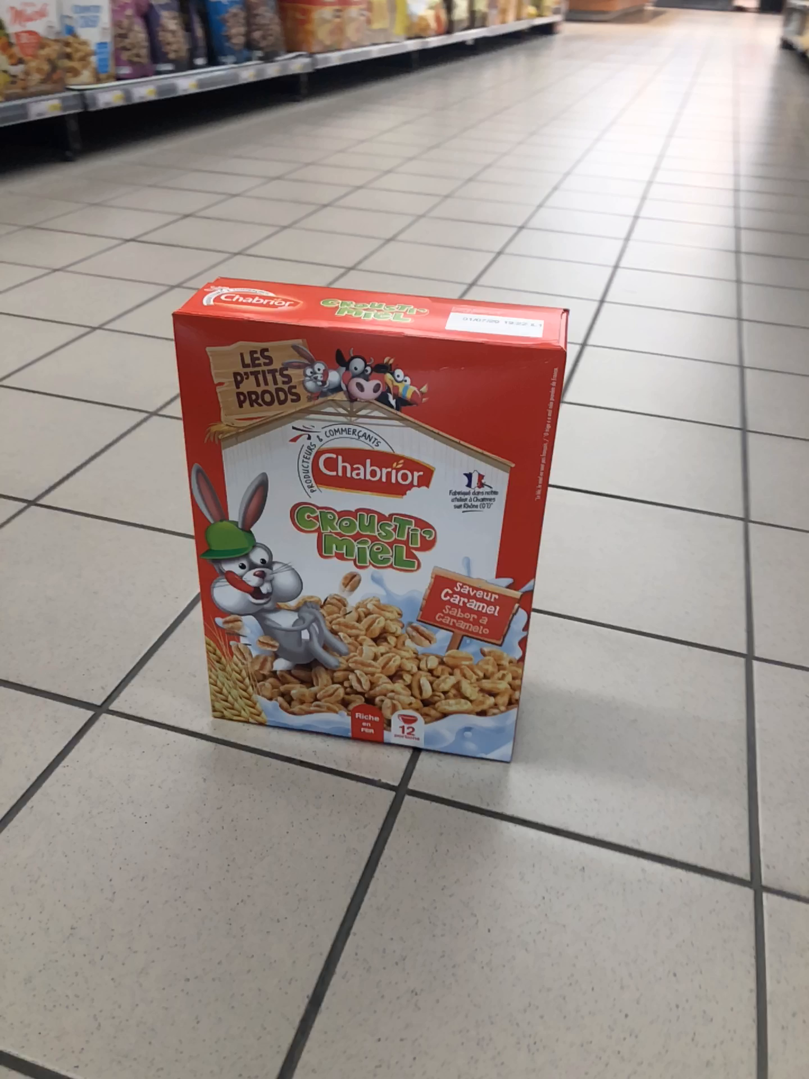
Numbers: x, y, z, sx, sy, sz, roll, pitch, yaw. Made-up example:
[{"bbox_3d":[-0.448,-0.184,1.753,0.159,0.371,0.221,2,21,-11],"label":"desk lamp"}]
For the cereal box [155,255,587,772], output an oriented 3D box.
[{"bbox_3d":[-0.018,-0.007,0.504,0.200,0.268,0.070,8,32,8],"label":"cereal box"}]
